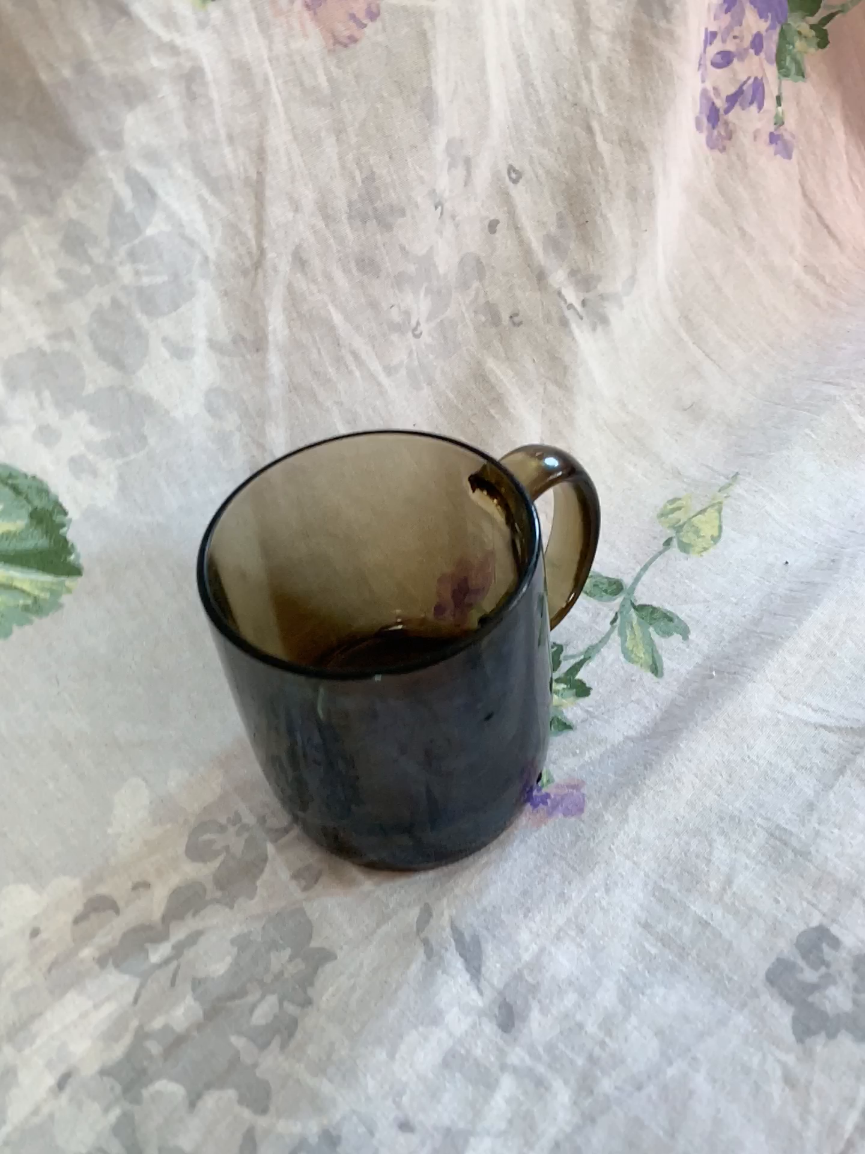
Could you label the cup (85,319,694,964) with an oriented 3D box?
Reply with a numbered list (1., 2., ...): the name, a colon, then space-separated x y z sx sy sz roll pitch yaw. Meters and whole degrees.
1. cup: -0.003 0.014 0.243 0.082 0.098 0.120 33 61 31
